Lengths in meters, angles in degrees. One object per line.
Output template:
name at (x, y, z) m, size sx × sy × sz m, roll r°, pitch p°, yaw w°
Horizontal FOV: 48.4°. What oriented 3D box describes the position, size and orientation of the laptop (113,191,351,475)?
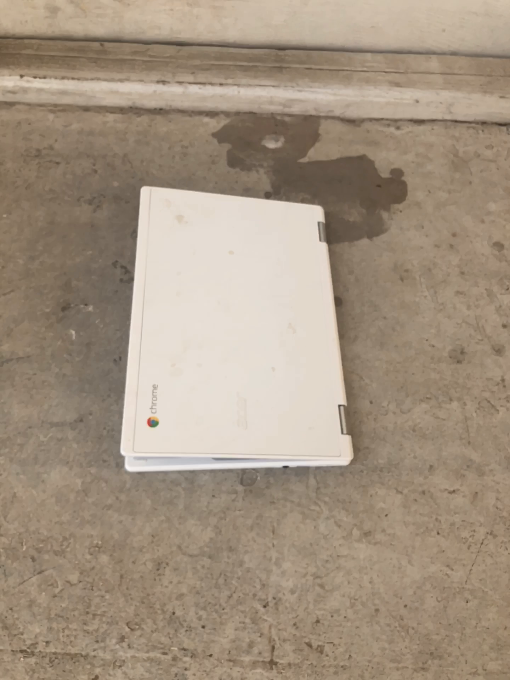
laptop at (-0.022, -0.019, 0.539) m, size 0.190 × 0.046 × 0.279 m, roll 0°, pitch 61°, yaw -4°
